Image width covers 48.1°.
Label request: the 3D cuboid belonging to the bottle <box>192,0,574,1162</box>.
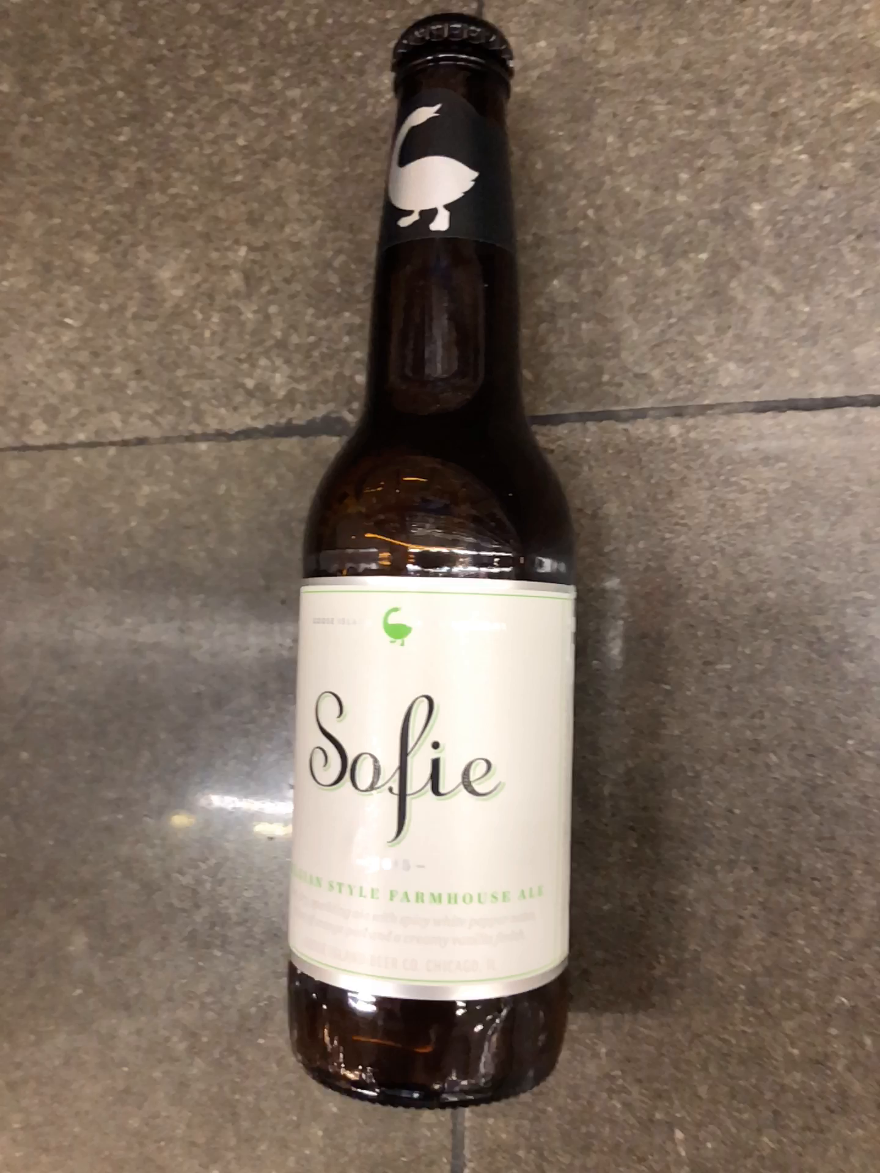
[{"bbox_3d":[-0.010,-0.015,0.215,0.070,0.040,0.240,-1,86,21],"label":"bottle"}]
